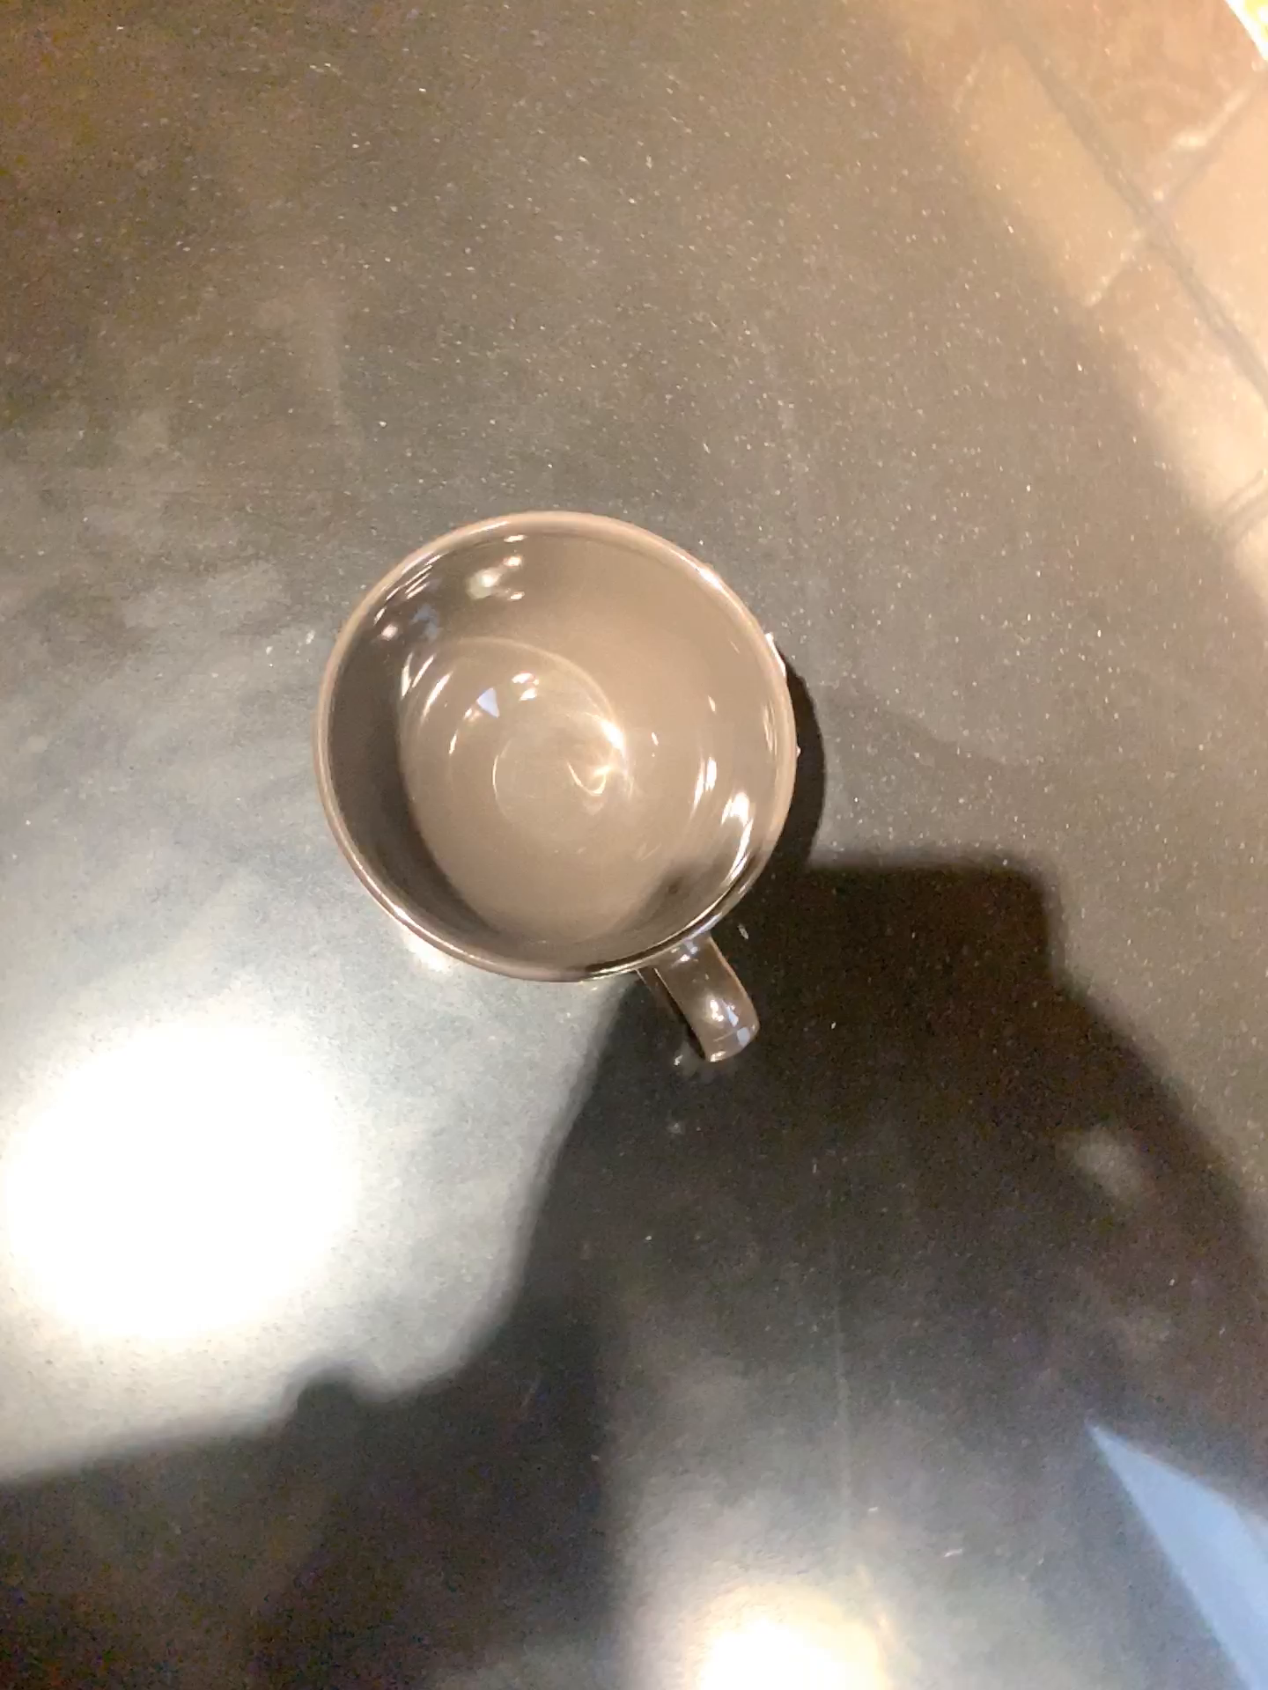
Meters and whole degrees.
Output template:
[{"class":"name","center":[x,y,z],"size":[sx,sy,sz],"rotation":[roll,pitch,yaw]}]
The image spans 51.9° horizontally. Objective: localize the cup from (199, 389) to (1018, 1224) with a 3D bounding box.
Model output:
[{"class":"cup","center":[-0.007,-0.008,0.301],"size":[0.110,0.060,0.140],"rotation":[-35,84,-9]}]
